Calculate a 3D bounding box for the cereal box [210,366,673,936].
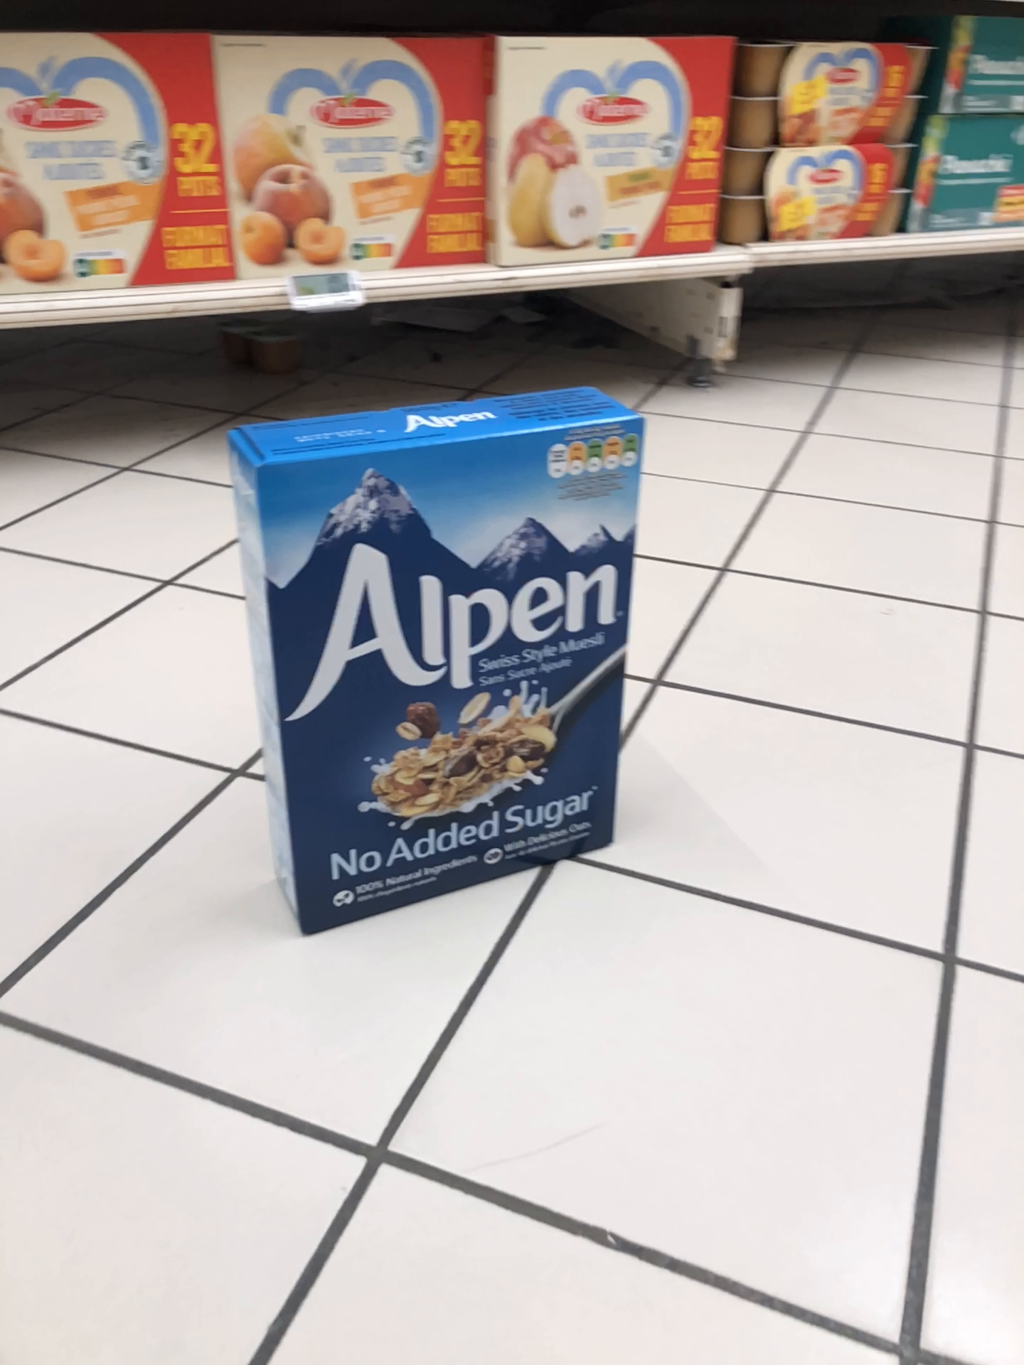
[{"bbox_3d":[-0.028,-0.015,0.516,0.180,0.229,0.060,-12,31,-21],"label":"cereal box"}]
